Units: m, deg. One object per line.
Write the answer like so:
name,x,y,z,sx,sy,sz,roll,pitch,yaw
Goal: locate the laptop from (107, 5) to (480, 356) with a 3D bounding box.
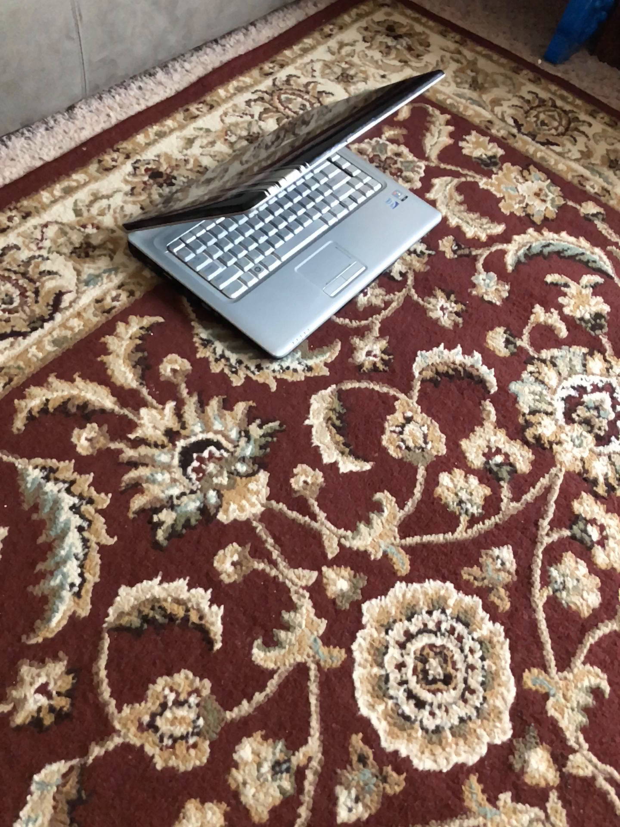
laptop,-0.013,-0.284,0.798,0.244,0.164,0.342,37,58,13
